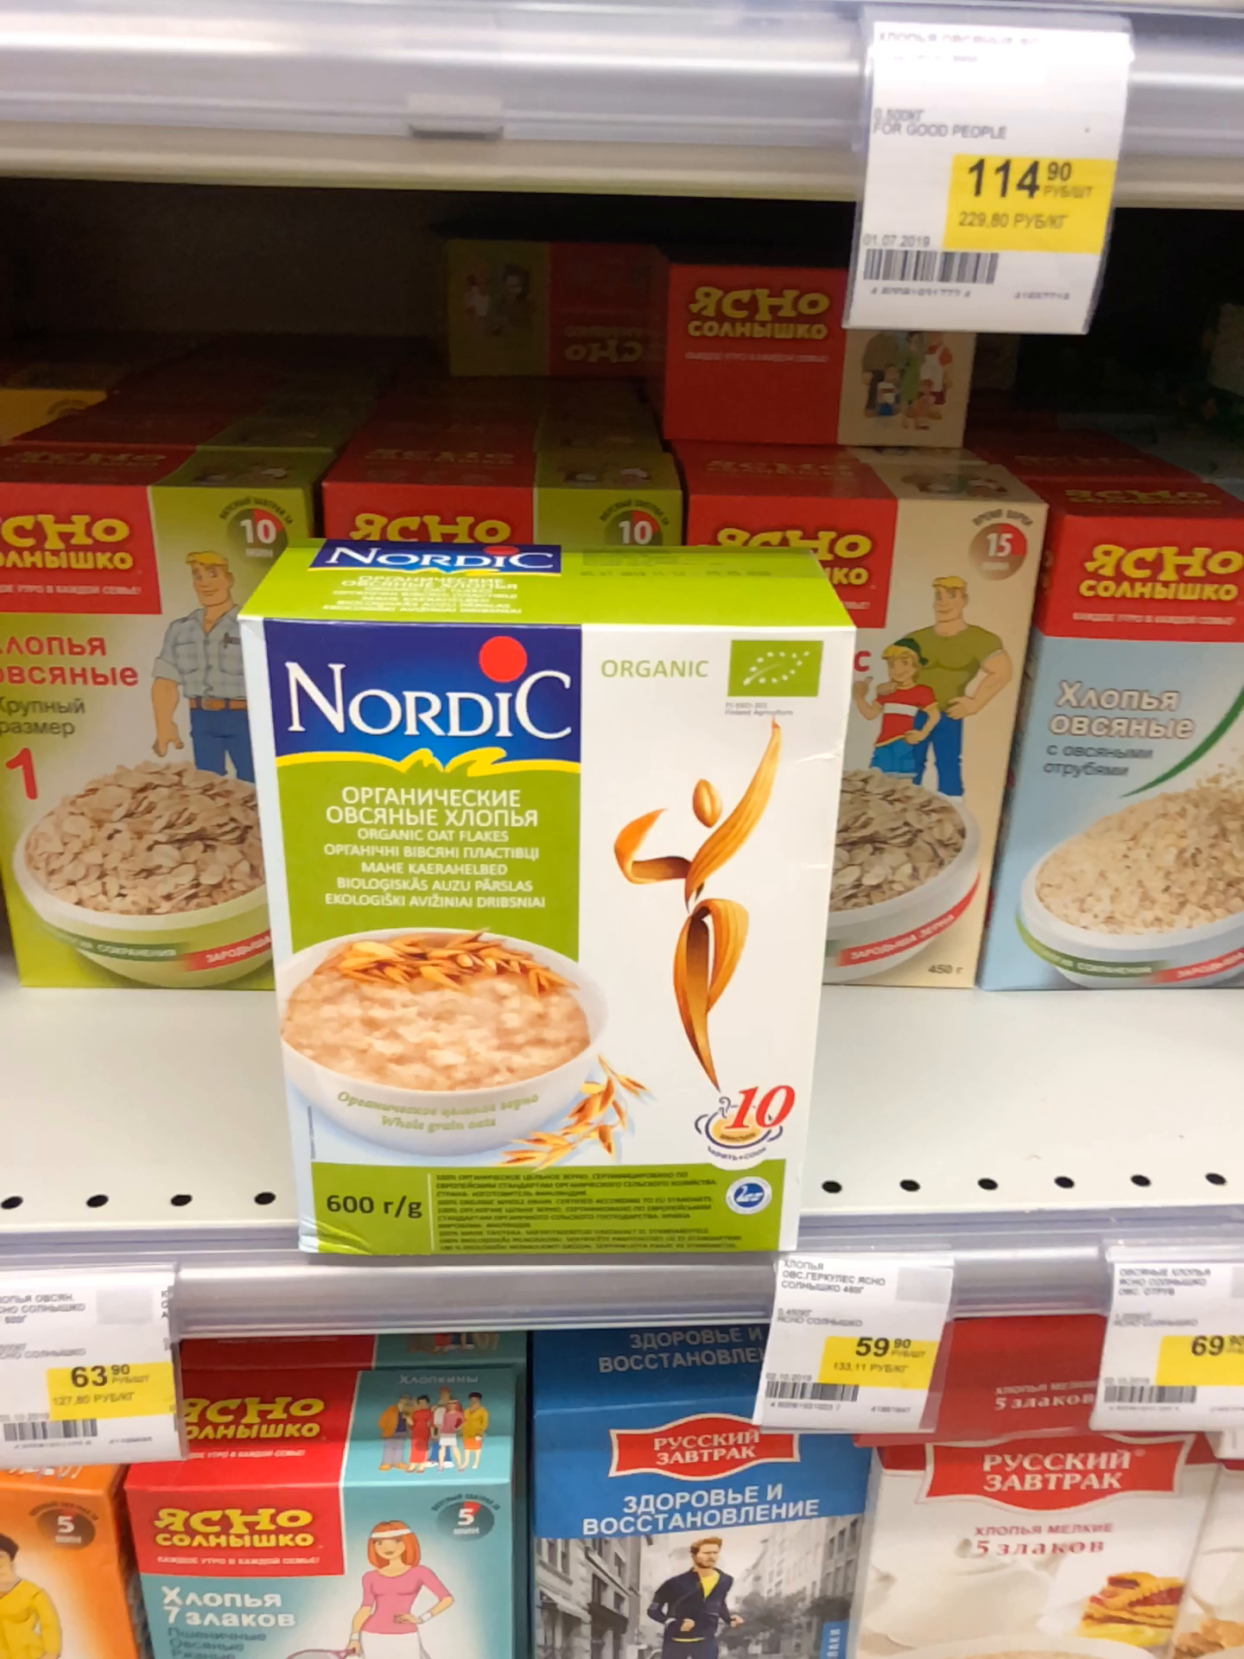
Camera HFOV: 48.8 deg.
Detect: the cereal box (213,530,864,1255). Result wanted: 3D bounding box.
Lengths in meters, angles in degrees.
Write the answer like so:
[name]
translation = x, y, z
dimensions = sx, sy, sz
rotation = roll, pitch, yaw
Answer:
[cereal box]
translation = -0.022, 0.019, 0.392
dimensions = 0.150, 0.189, 0.080
rotation = 0, 25, -2
